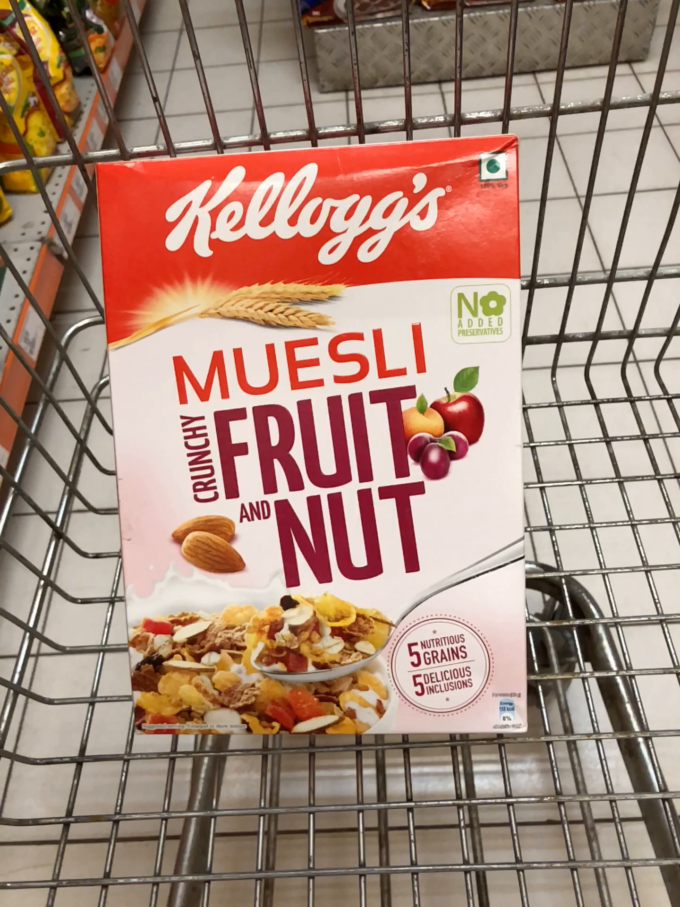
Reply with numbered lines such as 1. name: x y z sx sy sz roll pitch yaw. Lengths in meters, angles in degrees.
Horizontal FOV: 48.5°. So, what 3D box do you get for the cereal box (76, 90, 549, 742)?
1. cereal box: -0.007 -0.011 0.354 0.190 0.070 0.270 -1 98 5
